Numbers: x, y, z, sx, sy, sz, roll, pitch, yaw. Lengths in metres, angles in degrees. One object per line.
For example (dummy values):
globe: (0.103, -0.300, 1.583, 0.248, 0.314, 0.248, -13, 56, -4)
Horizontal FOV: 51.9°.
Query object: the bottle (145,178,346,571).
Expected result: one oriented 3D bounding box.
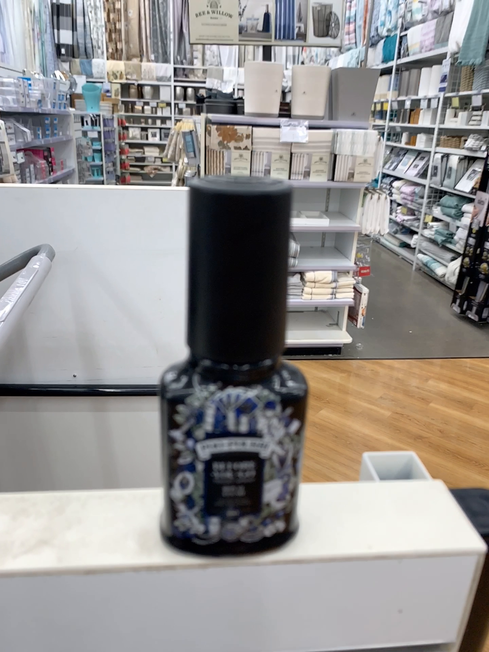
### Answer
bottle: (-0.003, 0.019, 0.162, 0.050, 0.123, 0.033, 0, 22, -6)
